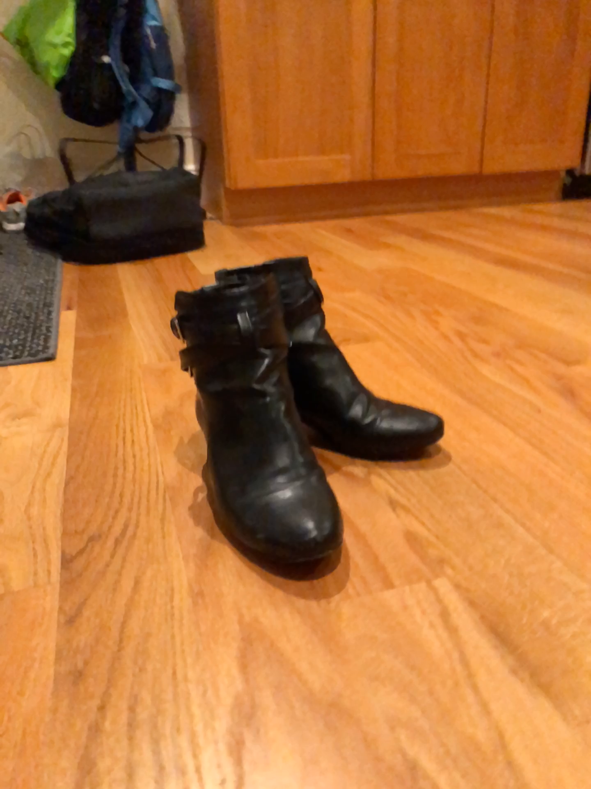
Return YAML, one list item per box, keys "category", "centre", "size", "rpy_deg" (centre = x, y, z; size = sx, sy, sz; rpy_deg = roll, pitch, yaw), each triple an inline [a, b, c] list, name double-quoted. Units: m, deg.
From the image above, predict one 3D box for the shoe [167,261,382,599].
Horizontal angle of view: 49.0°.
- category: "shoe"
  centre: [-0.027, 0.006, 0.501]
  size: [0.090, 0.172, 0.227]
  rpy_deg: [-9, 23, -18]

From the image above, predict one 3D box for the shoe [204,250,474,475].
- category: "shoe"
  centre: [0.041, -0.038, 0.616]
  size: [0.226, 0.172, 0.091]
  rpy_deg: [7, 23, 21]
